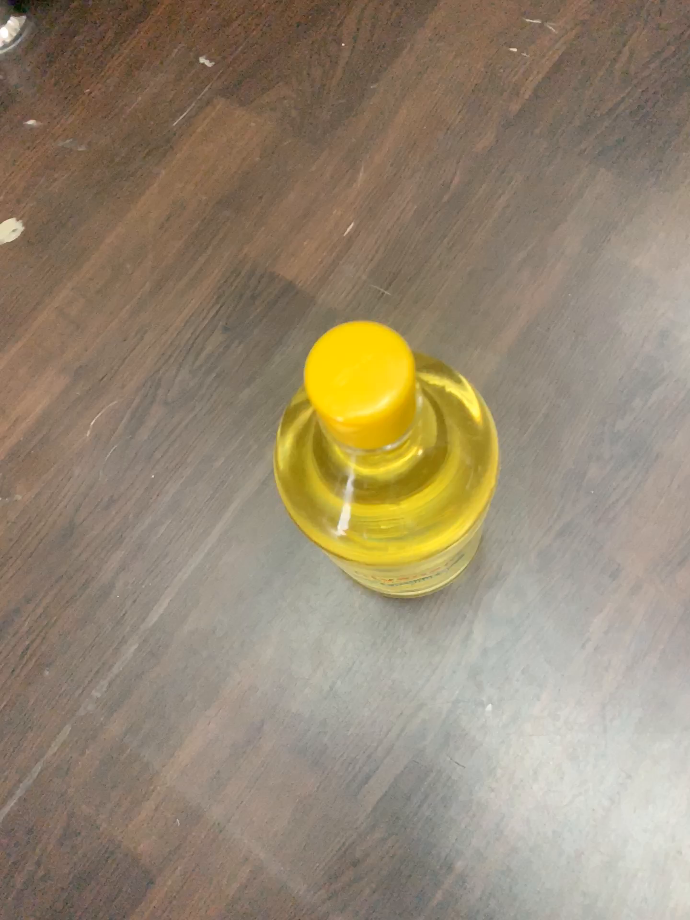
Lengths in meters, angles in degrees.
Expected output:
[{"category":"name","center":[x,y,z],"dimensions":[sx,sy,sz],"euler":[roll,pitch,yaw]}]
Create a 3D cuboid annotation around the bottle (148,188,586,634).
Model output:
[{"category":"bottle","center":[0.021,0.006,0.280],"dimensions":[0.090,0.210,0.090],"euler":[-2,73,8]}]
